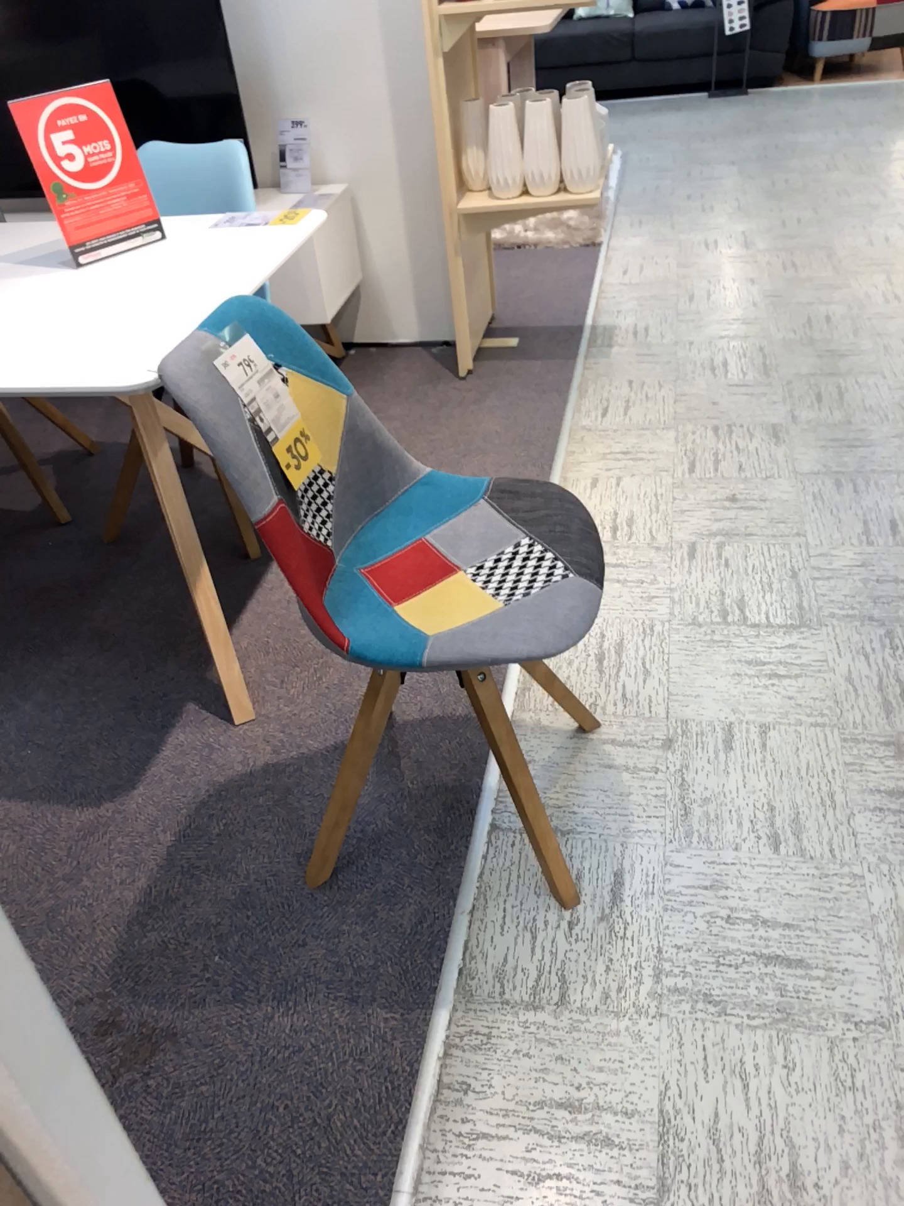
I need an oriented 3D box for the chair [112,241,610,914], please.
[{"bbox_3d":[-0.037,-0.026,1.429,0.510,0.815,0.473,1,36,11],"label":"chair"}]
